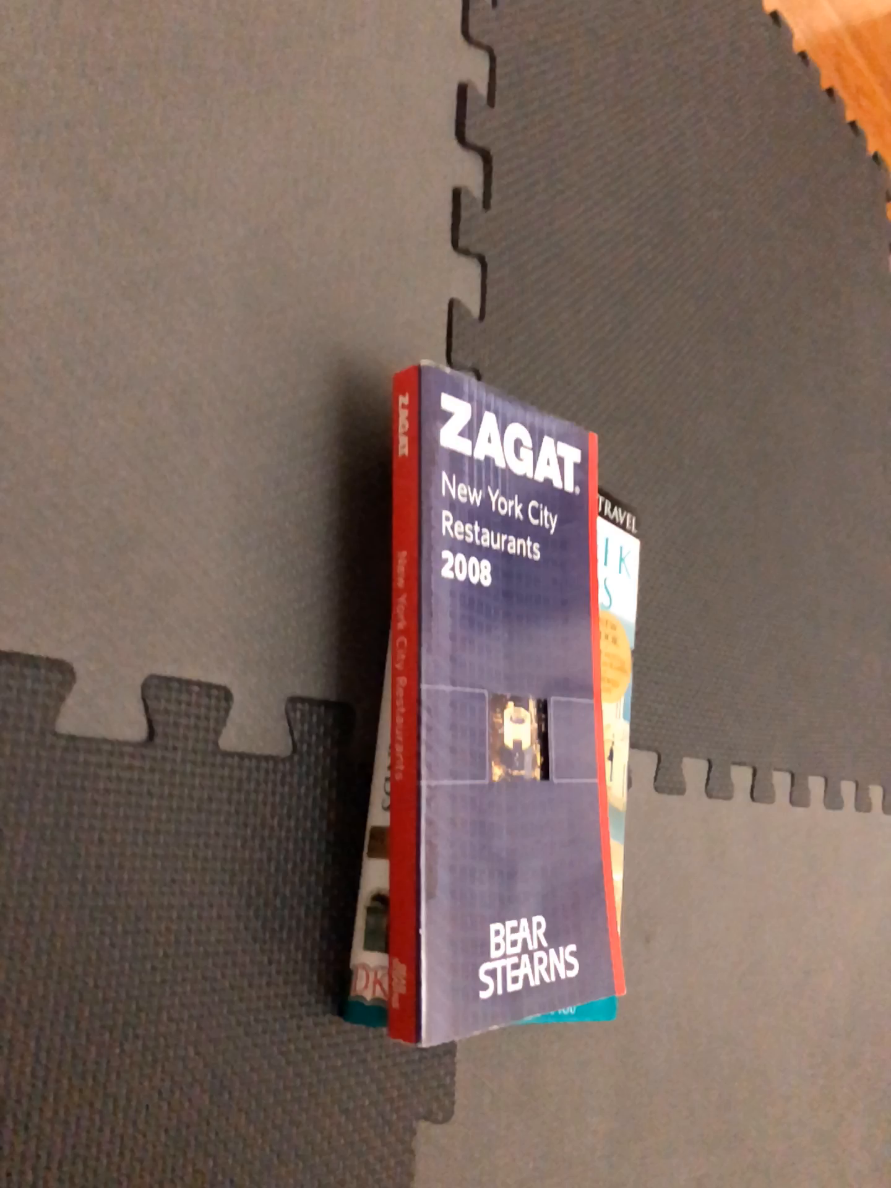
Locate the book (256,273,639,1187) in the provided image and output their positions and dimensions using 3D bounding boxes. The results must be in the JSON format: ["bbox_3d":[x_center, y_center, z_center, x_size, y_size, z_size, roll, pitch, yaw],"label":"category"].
[{"bbox_3d":[0.007,0.040,0.322,0.151,0.020,0.250,6,79,-48],"label":"book"}]

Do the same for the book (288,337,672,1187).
[{"bbox_3d":[0.029,0.059,0.371,0.171,0.030,0.260,18,70,-46],"label":"book"}]
